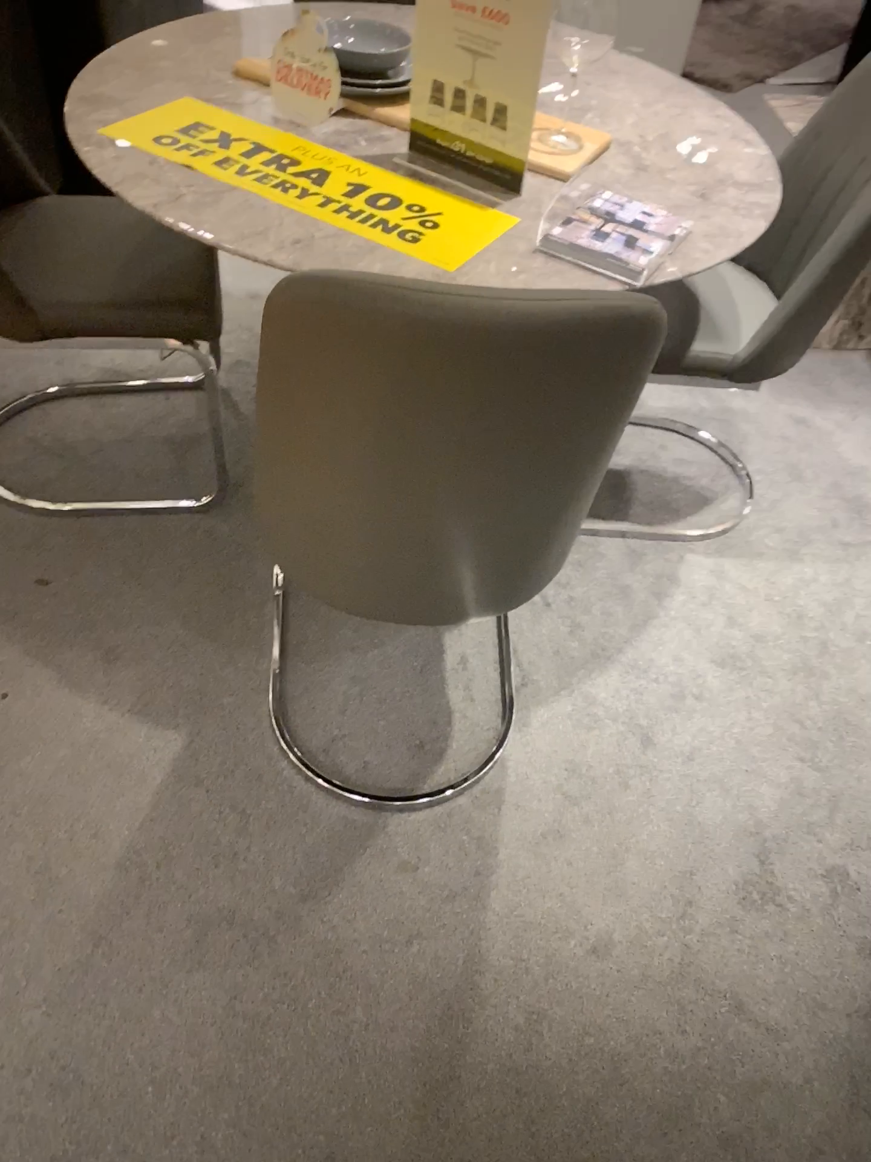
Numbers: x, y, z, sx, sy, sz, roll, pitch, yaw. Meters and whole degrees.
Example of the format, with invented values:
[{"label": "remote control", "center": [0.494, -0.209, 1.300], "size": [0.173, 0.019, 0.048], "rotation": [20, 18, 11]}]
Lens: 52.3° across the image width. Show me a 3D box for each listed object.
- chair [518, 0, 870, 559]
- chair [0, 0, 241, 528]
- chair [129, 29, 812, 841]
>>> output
[{"label": "chair", "center": [0.535, -0.560, 1.718], "size": [0.578, 0.883, 0.525], "rotation": [4, 46, -4]}, {"label": "chair", "center": [-0.675, -0.609, 1.602], "size": [0.578, 0.883, 0.525], "rotation": [-3, 47, -11]}, {"label": "chair", "center": [-0.014, -0.149, 1.244], "size": [0.550, 0.883, 0.634], "rotation": [3, 46, -5]}]
